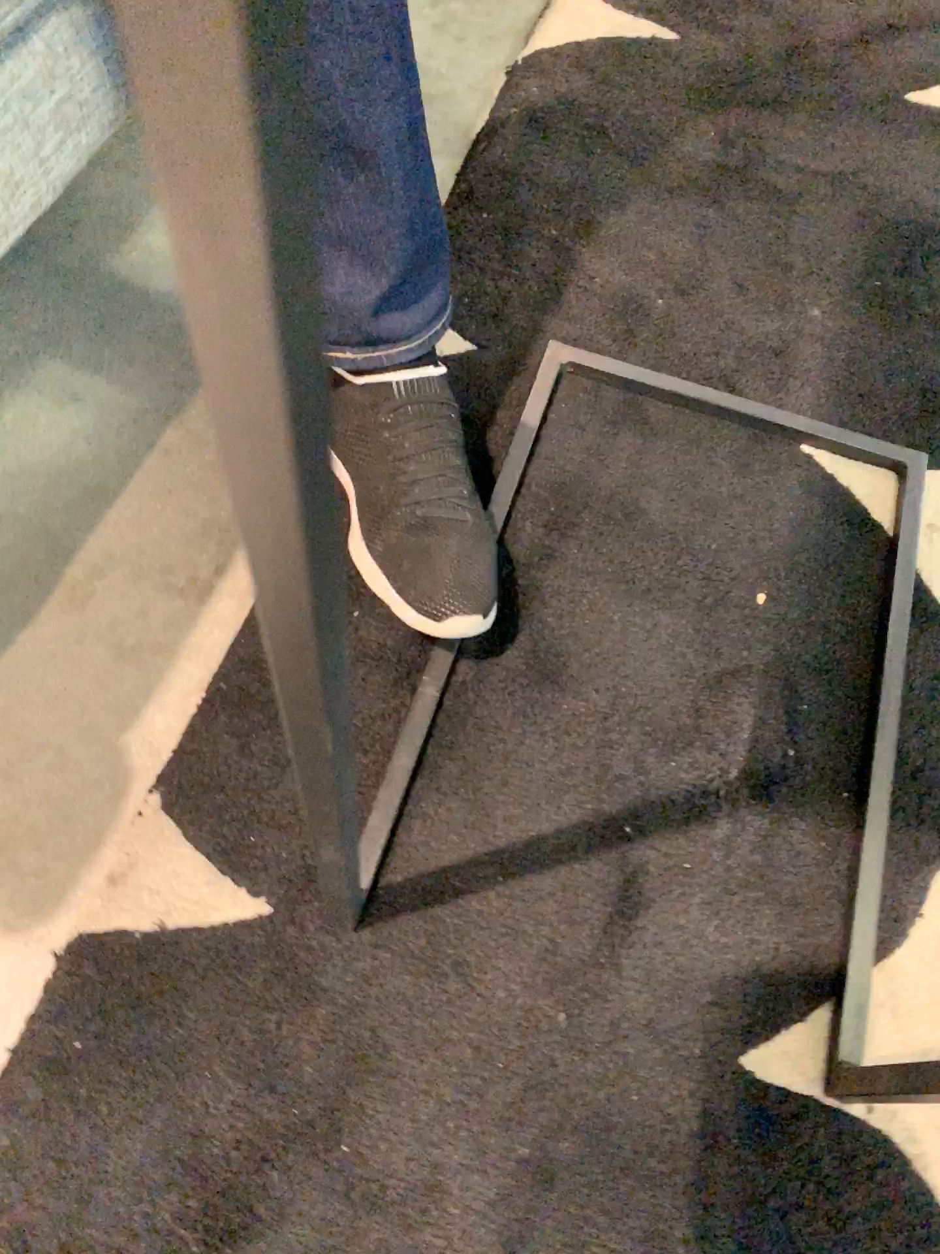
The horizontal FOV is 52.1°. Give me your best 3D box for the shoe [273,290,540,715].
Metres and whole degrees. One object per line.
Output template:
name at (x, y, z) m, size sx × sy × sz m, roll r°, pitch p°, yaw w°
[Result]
shoe at (-0.055, -0.100, 0.701) m, size 0.116 × 0.074 × 0.304 m, roll -12°, pitch 64°, yaw -12°
